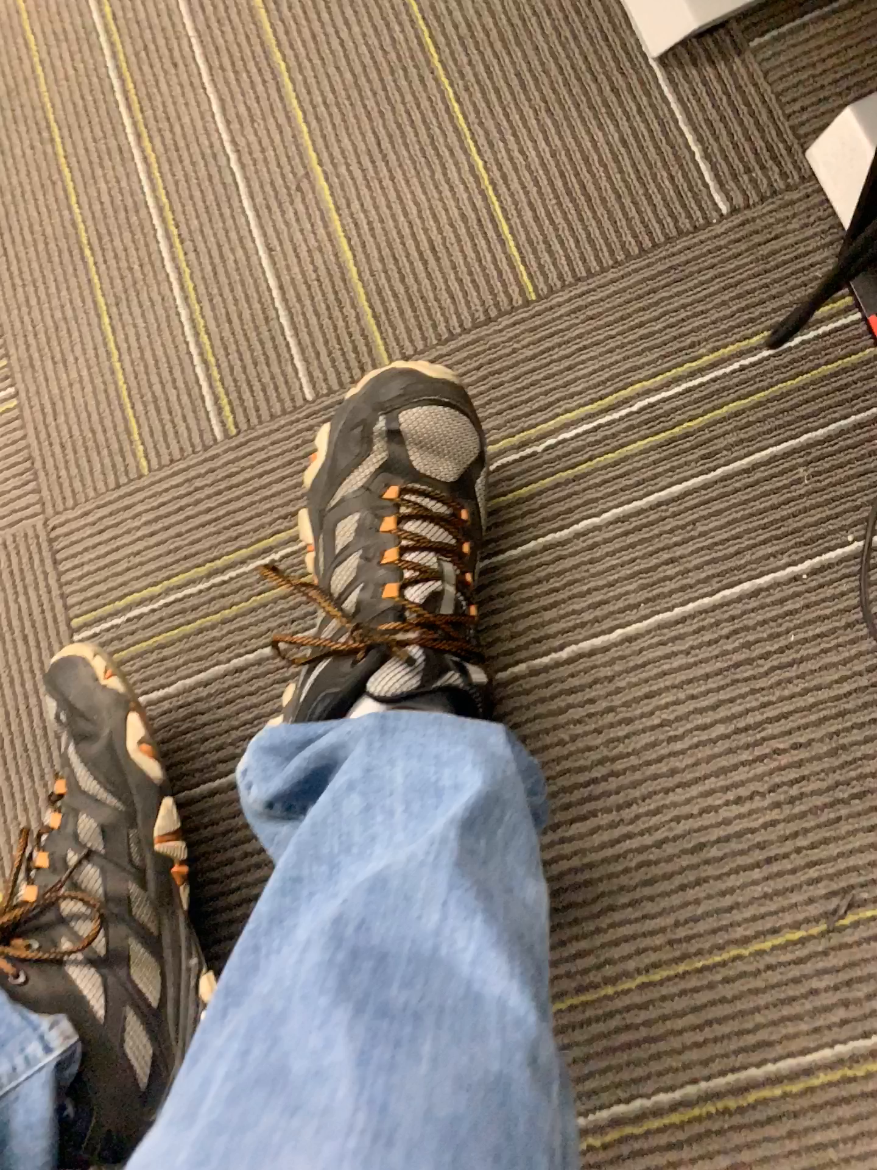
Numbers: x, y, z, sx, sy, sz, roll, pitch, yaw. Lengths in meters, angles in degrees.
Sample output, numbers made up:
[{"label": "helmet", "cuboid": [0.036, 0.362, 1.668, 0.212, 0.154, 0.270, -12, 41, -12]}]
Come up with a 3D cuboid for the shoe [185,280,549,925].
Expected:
[{"label": "shoe", "cuboid": [-0.043, 0.010, 0.530, 0.119, 0.119, 0.325, 7, 88, 51]}]

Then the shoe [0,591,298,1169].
[{"label": "shoe", "cuboid": [-0.205, 0.185, 0.541, 0.127, 0.119, 0.325, -13, 82, -28]}]
